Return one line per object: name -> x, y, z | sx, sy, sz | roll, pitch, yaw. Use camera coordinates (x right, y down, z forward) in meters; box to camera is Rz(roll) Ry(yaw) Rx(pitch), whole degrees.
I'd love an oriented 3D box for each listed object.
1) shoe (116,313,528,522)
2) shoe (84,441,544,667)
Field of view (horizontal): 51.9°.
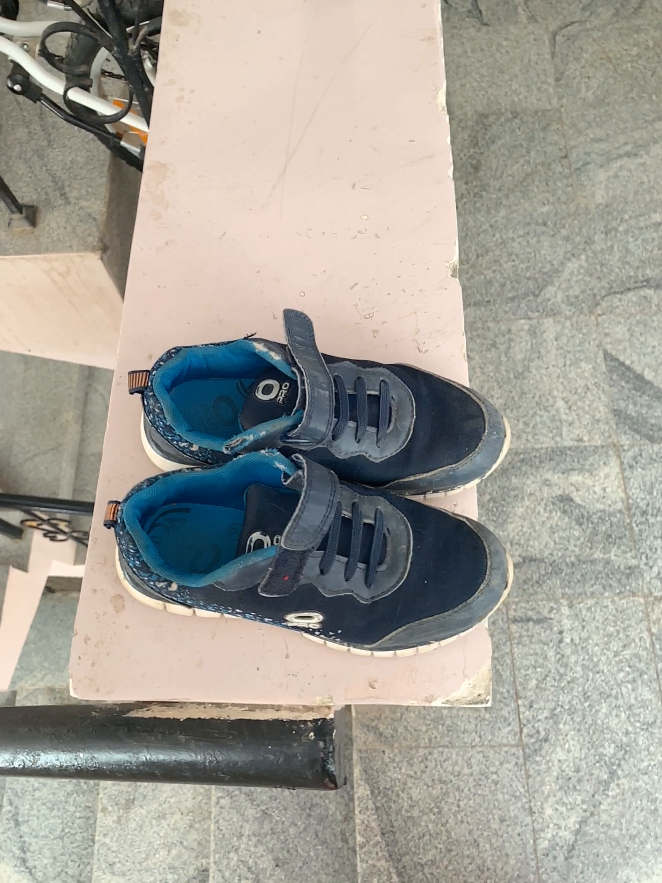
shoe -> -0.002, -0.013, 0.416 | 0.220, 0.080, 0.100 | 1, 69, 5
shoe -> -0.004, 0.064, 0.375 | 0.220, 0.080, 0.090 | 4, 69, 6
